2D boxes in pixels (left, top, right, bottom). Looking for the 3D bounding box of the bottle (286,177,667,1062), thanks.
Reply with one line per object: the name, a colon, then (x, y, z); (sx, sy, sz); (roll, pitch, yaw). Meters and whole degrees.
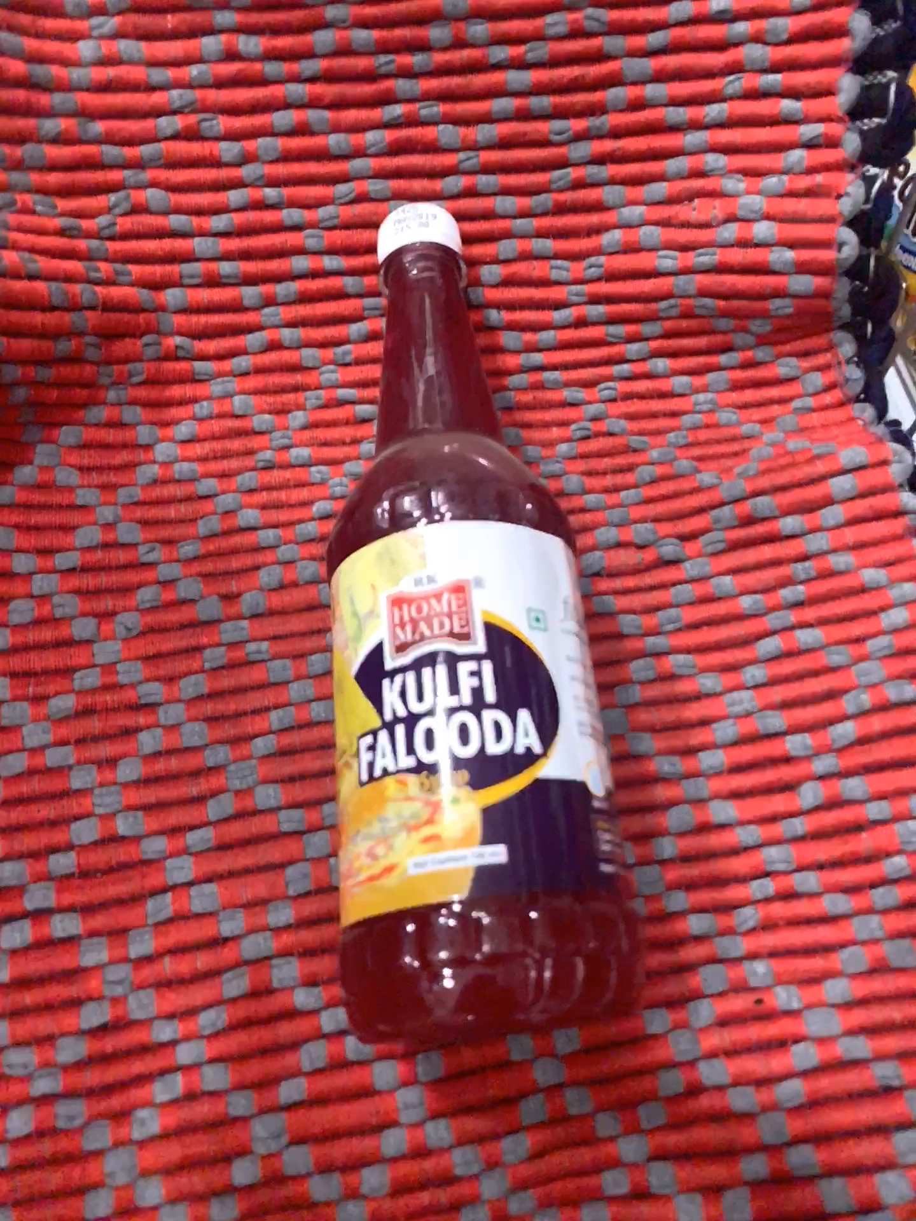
bottle: (-0.006, -0.016, 0.268); (0.070, 0.070, 0.251); (-5, 57, -1)
